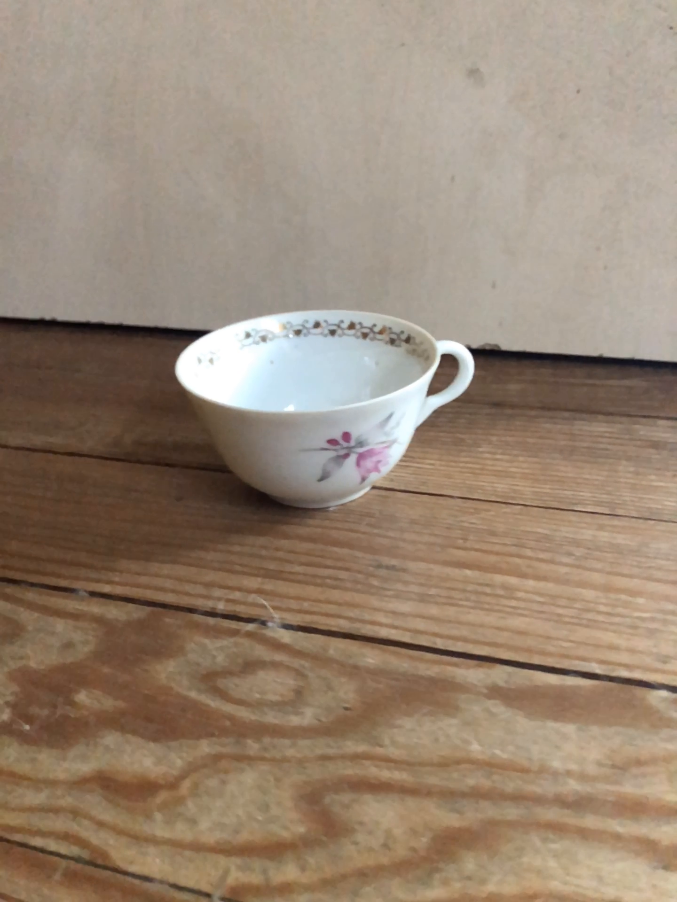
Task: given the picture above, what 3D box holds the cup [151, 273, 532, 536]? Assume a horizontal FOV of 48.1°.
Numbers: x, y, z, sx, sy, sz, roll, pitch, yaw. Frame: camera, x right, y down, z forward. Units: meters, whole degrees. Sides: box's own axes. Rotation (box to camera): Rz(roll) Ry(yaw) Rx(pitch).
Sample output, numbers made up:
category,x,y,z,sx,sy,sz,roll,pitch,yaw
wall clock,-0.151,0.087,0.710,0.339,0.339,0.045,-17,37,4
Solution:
category,x,y,z,sx,sy,sz,roll,pitch,yaw
cup,-0.003,-0.022,0.250,0.100,0.040,0.080,-11,31,-16
